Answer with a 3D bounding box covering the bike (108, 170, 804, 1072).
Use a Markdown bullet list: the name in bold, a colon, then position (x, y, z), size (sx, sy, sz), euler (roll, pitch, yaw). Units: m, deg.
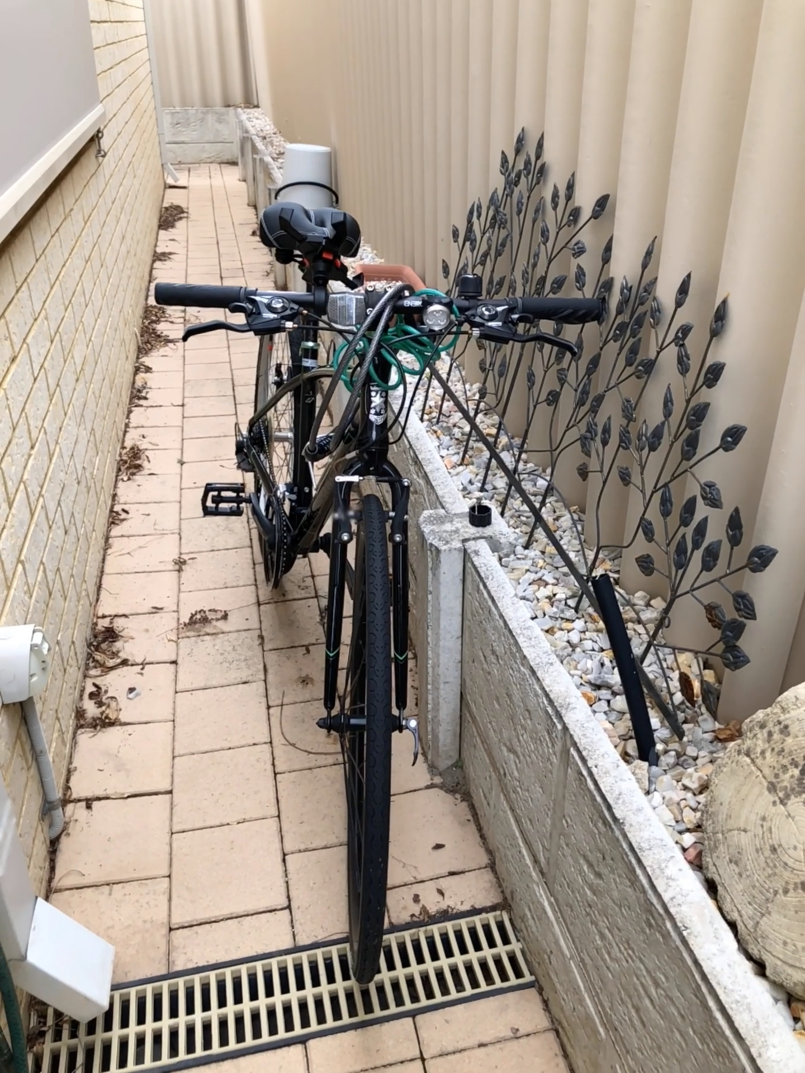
- **bike**: position (-0.099, -0.118, 1.667), size (0.638, 0.859, 1.707), euler (-6, 30, -11)
